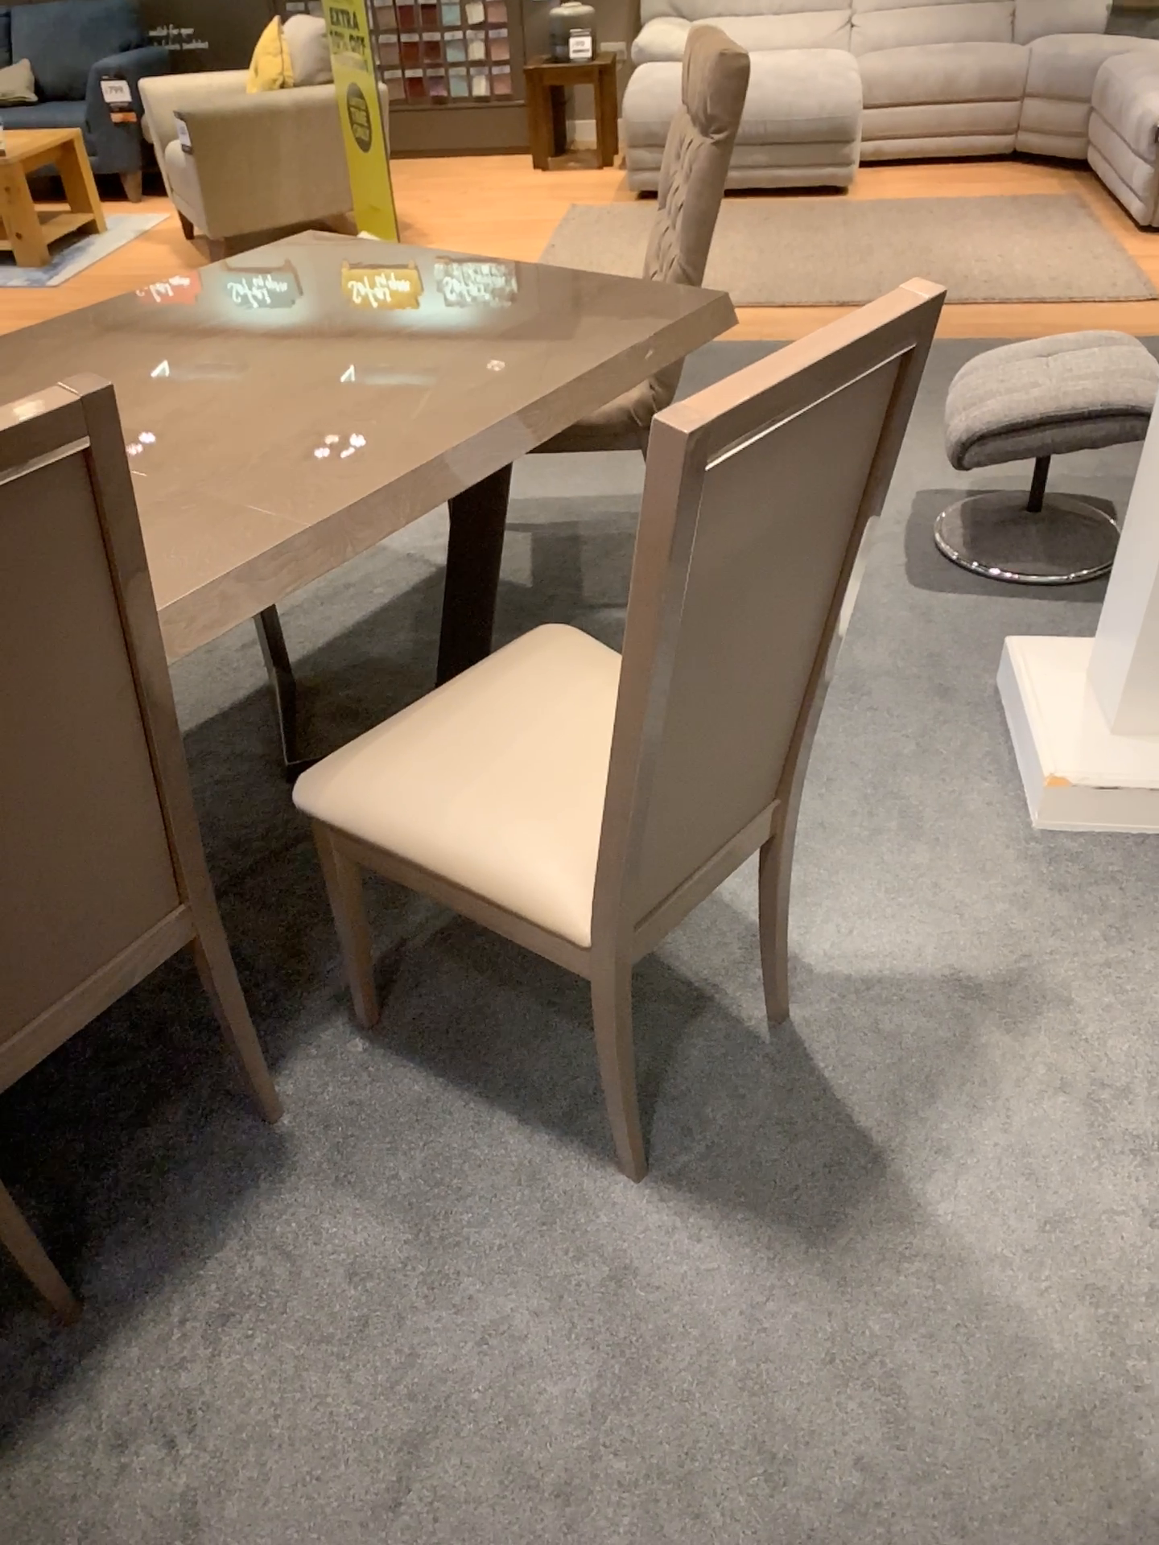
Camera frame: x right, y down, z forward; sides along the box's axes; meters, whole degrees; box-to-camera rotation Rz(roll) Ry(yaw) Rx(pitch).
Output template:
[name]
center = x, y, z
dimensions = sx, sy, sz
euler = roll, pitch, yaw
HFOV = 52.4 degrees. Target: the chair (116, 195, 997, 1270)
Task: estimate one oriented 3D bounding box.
[chair]
center = 0.016, -0.062, 1.338
dimensions = 0.588, 0.946, 0.541
euler = 22, 44, 31
